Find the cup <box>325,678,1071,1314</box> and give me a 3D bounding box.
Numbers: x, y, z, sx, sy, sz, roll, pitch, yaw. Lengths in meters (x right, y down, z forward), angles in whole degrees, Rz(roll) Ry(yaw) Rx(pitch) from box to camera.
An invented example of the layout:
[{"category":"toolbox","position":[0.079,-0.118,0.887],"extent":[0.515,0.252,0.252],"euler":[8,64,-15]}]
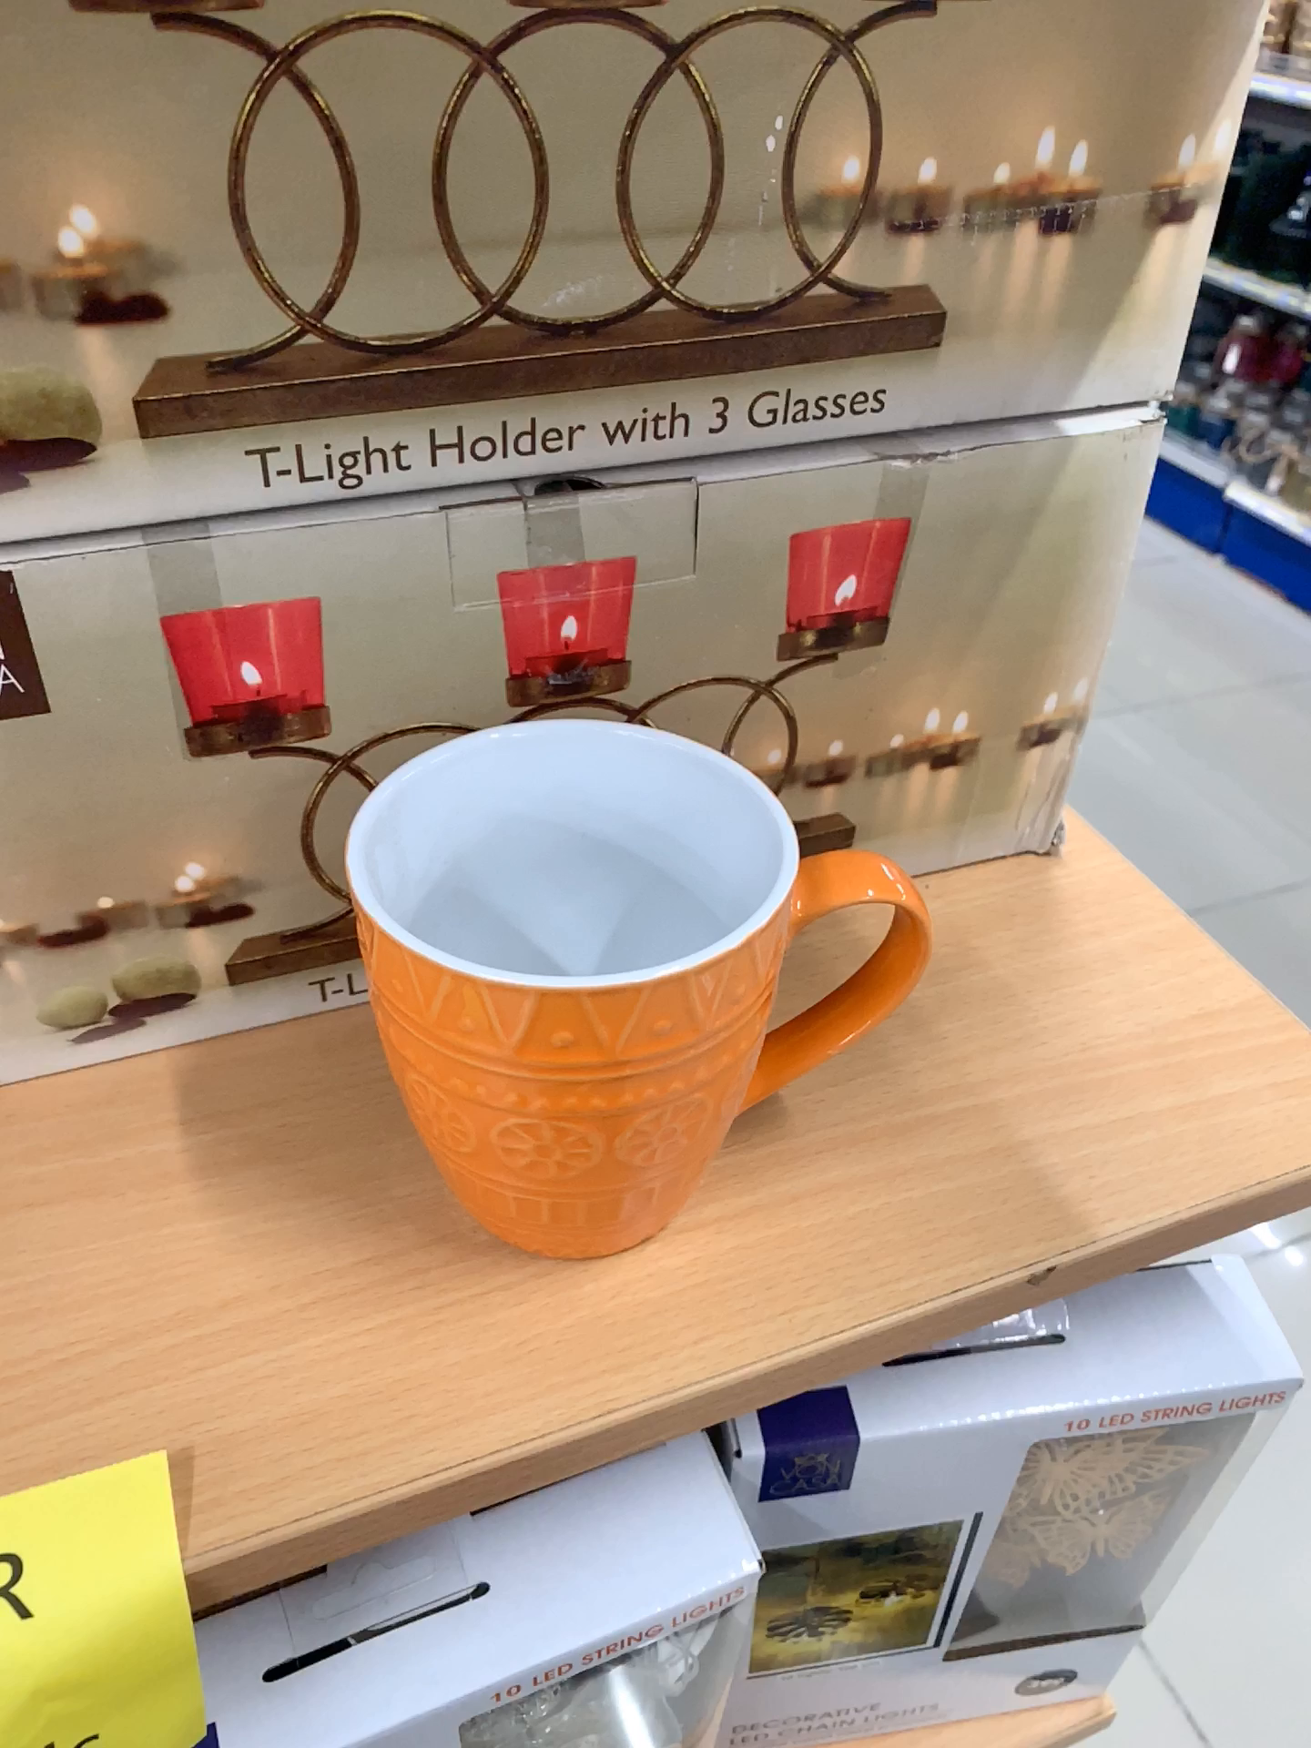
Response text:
[{"category":"cup","position":[0.001,0.020,0.273],"extent":[0.120,0.080,0.080],"euler":[-6,38,-13]}]
